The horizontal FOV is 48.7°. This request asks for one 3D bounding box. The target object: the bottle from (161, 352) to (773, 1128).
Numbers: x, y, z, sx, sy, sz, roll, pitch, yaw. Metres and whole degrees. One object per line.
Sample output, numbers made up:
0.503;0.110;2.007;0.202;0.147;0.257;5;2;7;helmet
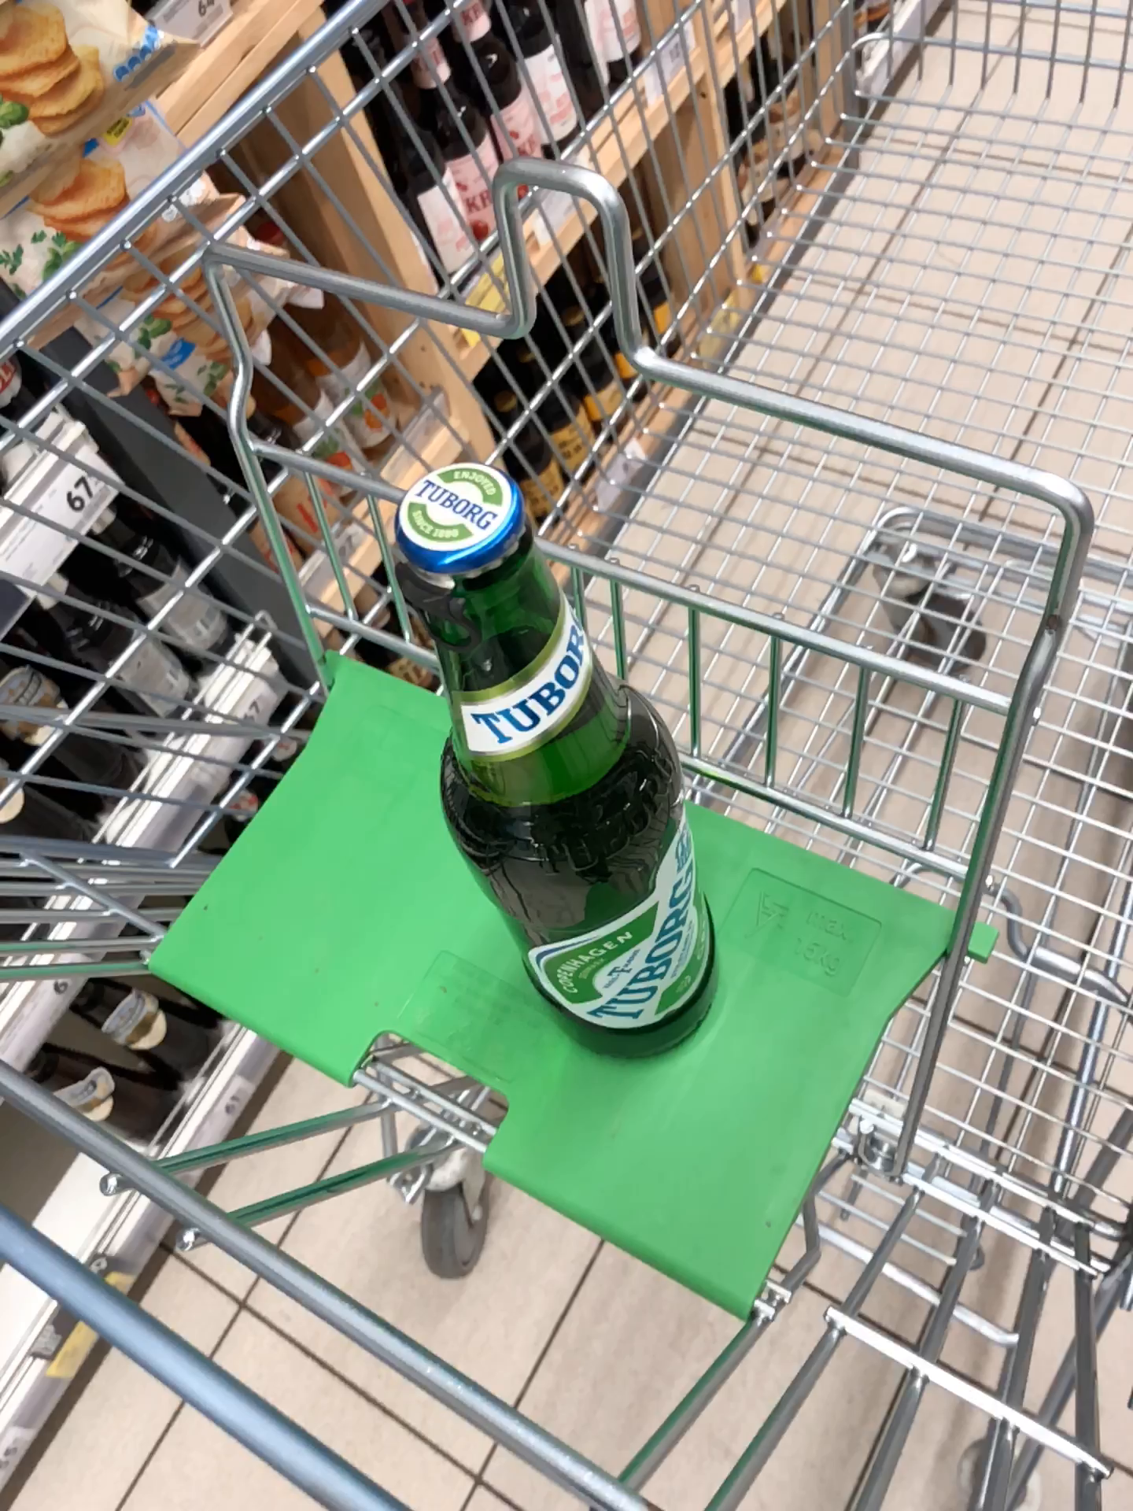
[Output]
-0.003;0.023;0.349;0.080;0.259;0.070;-36;60;-8;bottle
